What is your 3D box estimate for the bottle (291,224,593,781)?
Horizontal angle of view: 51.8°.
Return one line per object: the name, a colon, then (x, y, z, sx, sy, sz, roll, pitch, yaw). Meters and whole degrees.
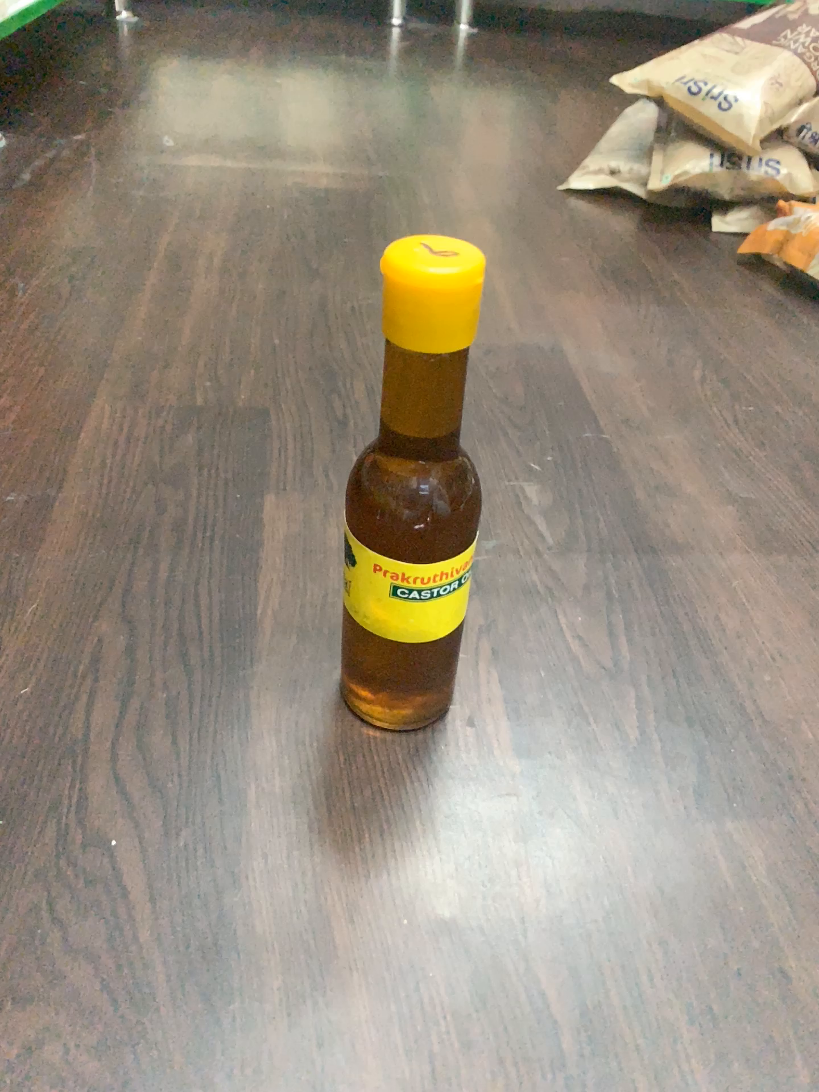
bottle: (0.001, -0.008, 0.277, 0.060, 0.169, 0.060, 3, 38, -2)
